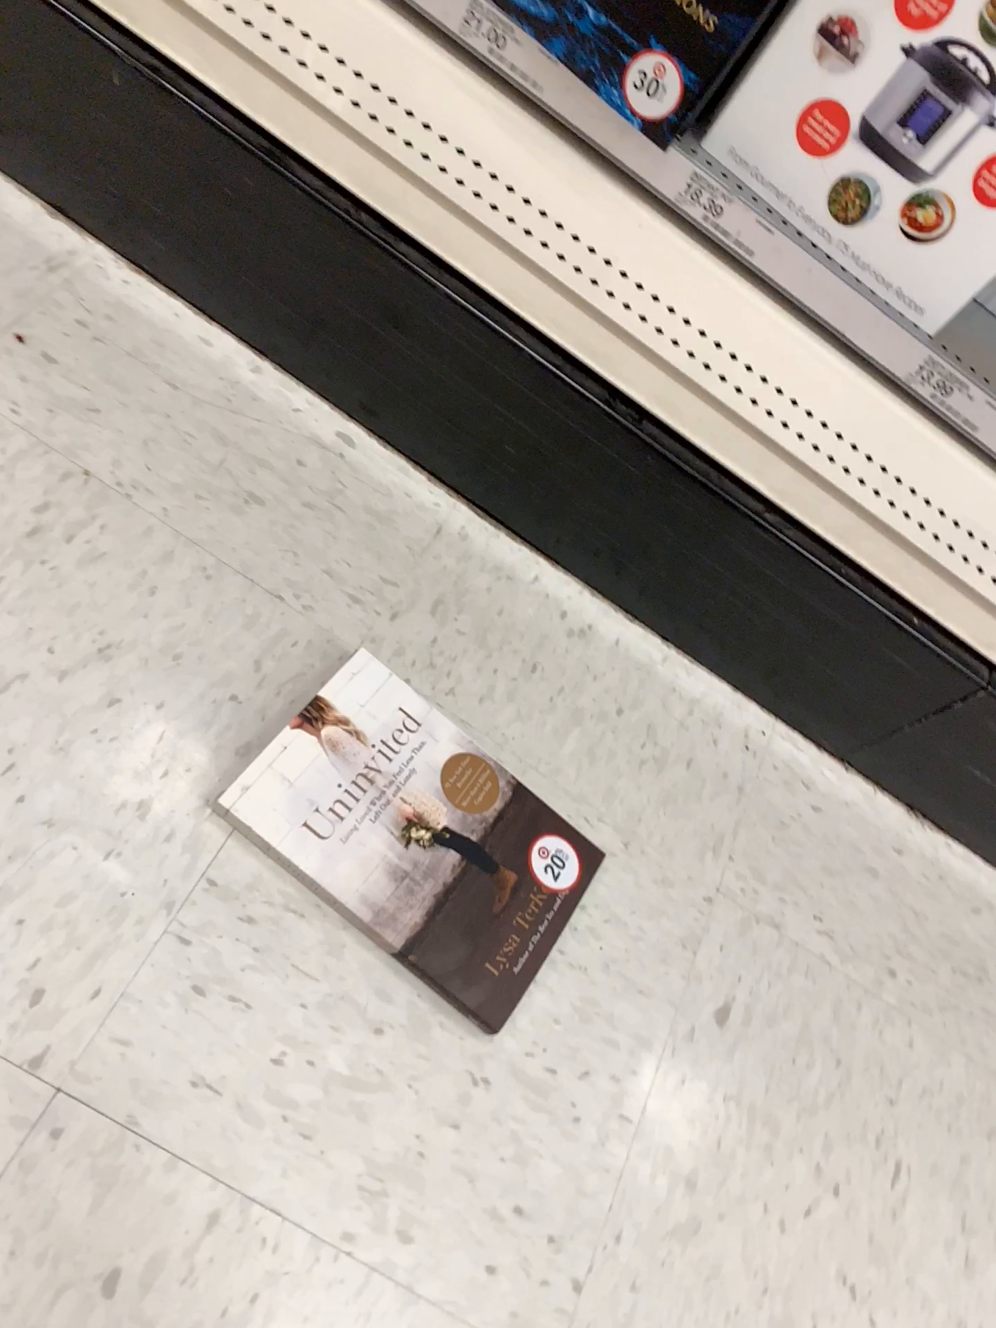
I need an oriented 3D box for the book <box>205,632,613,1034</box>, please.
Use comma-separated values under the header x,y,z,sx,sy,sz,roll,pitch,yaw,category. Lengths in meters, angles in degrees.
x,y,z,sx,sy,sz,roll,pitch,yaw,category
-0.048,0.099,0.618,0.210,0.030,0.141,40,56,-4,book
